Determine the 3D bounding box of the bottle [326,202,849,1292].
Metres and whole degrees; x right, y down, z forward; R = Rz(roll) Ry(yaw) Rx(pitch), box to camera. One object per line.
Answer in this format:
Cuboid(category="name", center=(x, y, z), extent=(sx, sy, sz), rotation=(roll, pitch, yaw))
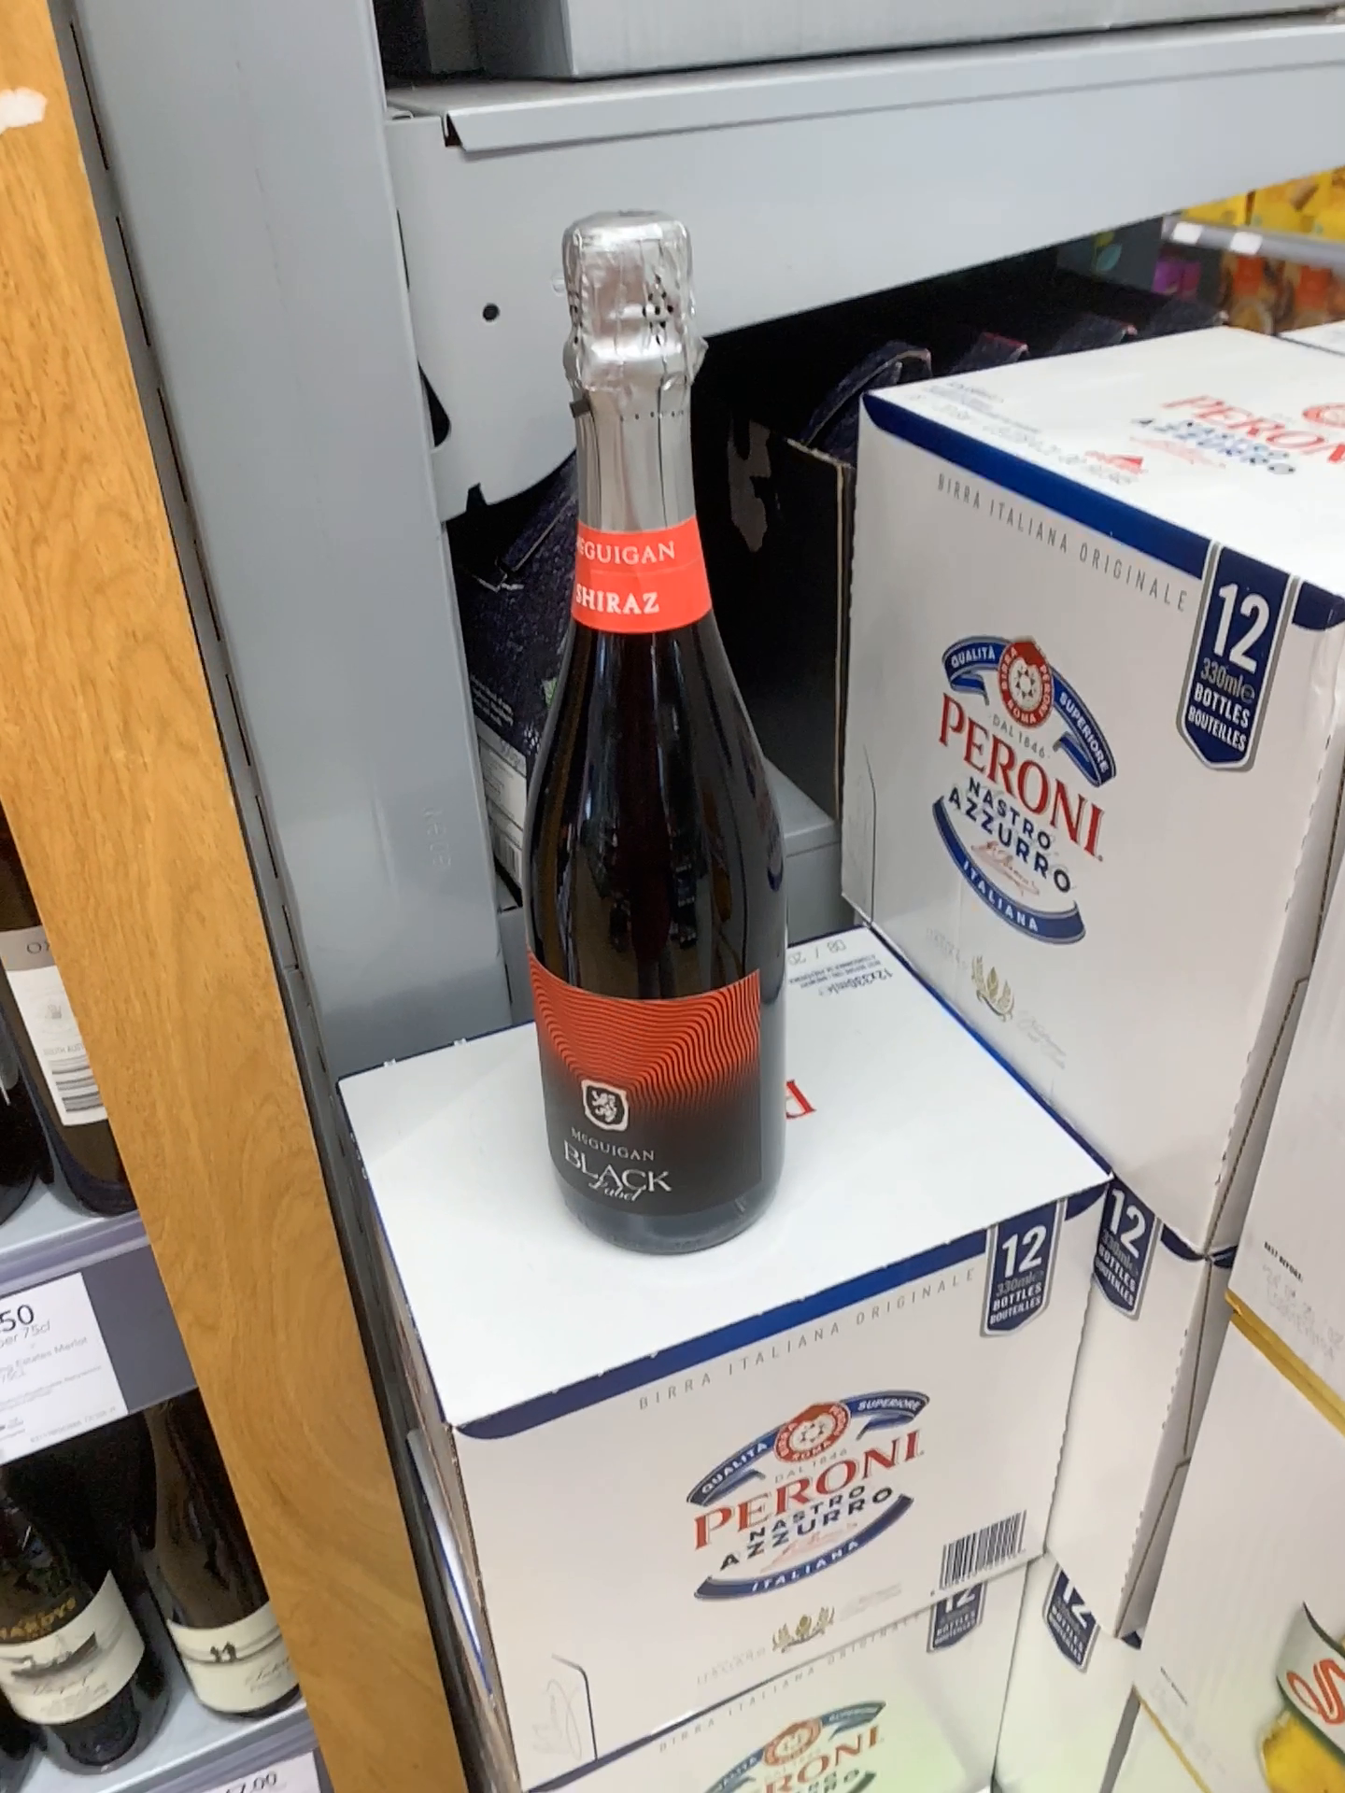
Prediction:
Cuboid(category="bottle", center=(-0.009, -0.033, 0.397), extent=(0.090, 0.289, 0.095), rotation=(-2, 33, 1))
